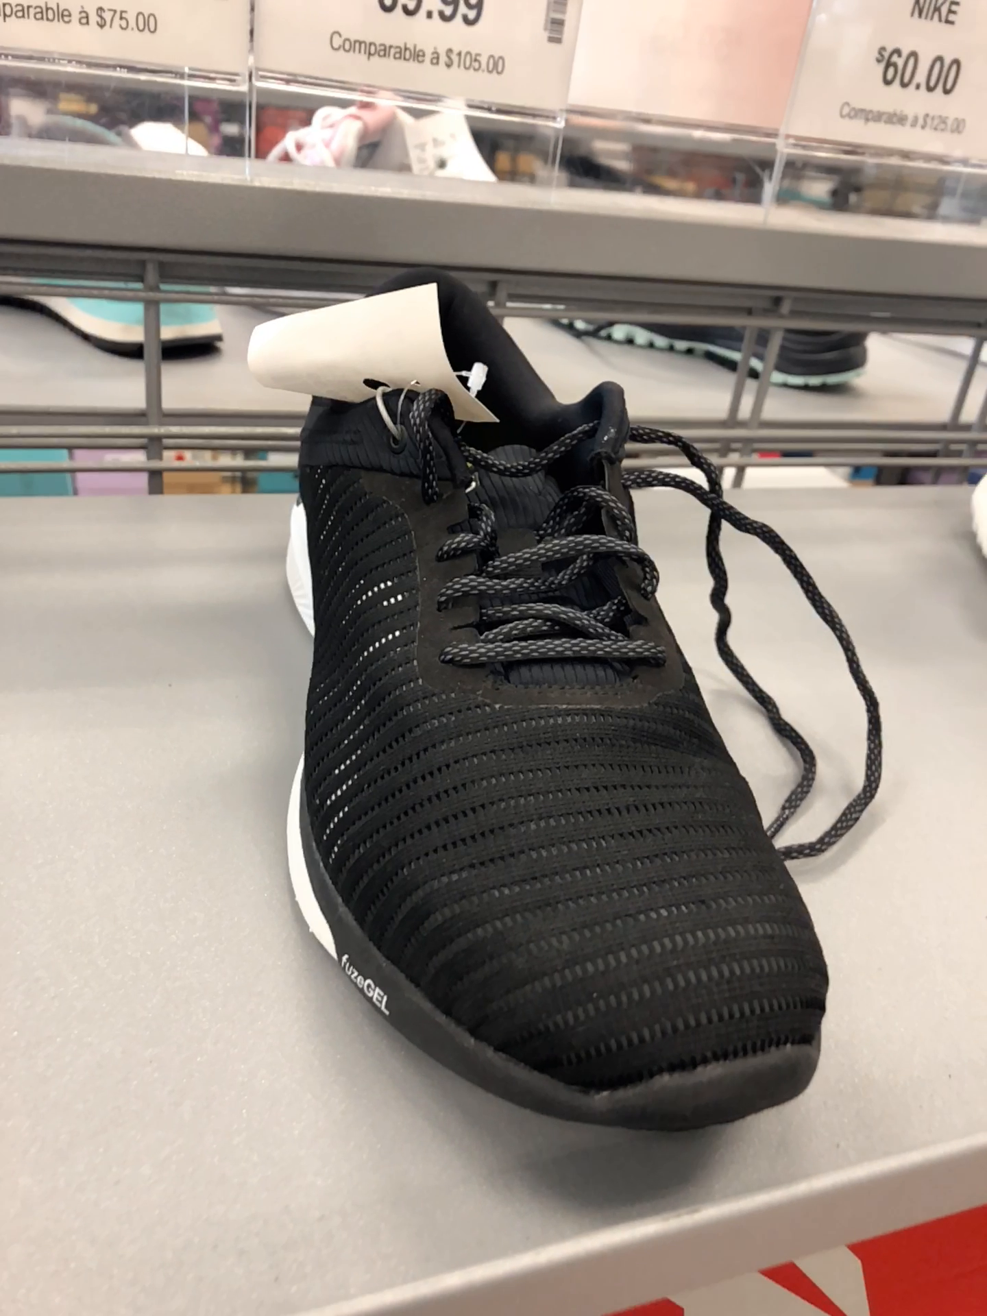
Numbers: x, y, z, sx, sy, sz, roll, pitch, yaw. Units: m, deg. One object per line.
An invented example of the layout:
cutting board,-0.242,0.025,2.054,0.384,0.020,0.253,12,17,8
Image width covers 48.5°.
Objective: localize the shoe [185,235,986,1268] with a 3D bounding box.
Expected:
shoe,-0.009,-0.022,0.309,0.120,0.119,0.302,-4,32,-20
